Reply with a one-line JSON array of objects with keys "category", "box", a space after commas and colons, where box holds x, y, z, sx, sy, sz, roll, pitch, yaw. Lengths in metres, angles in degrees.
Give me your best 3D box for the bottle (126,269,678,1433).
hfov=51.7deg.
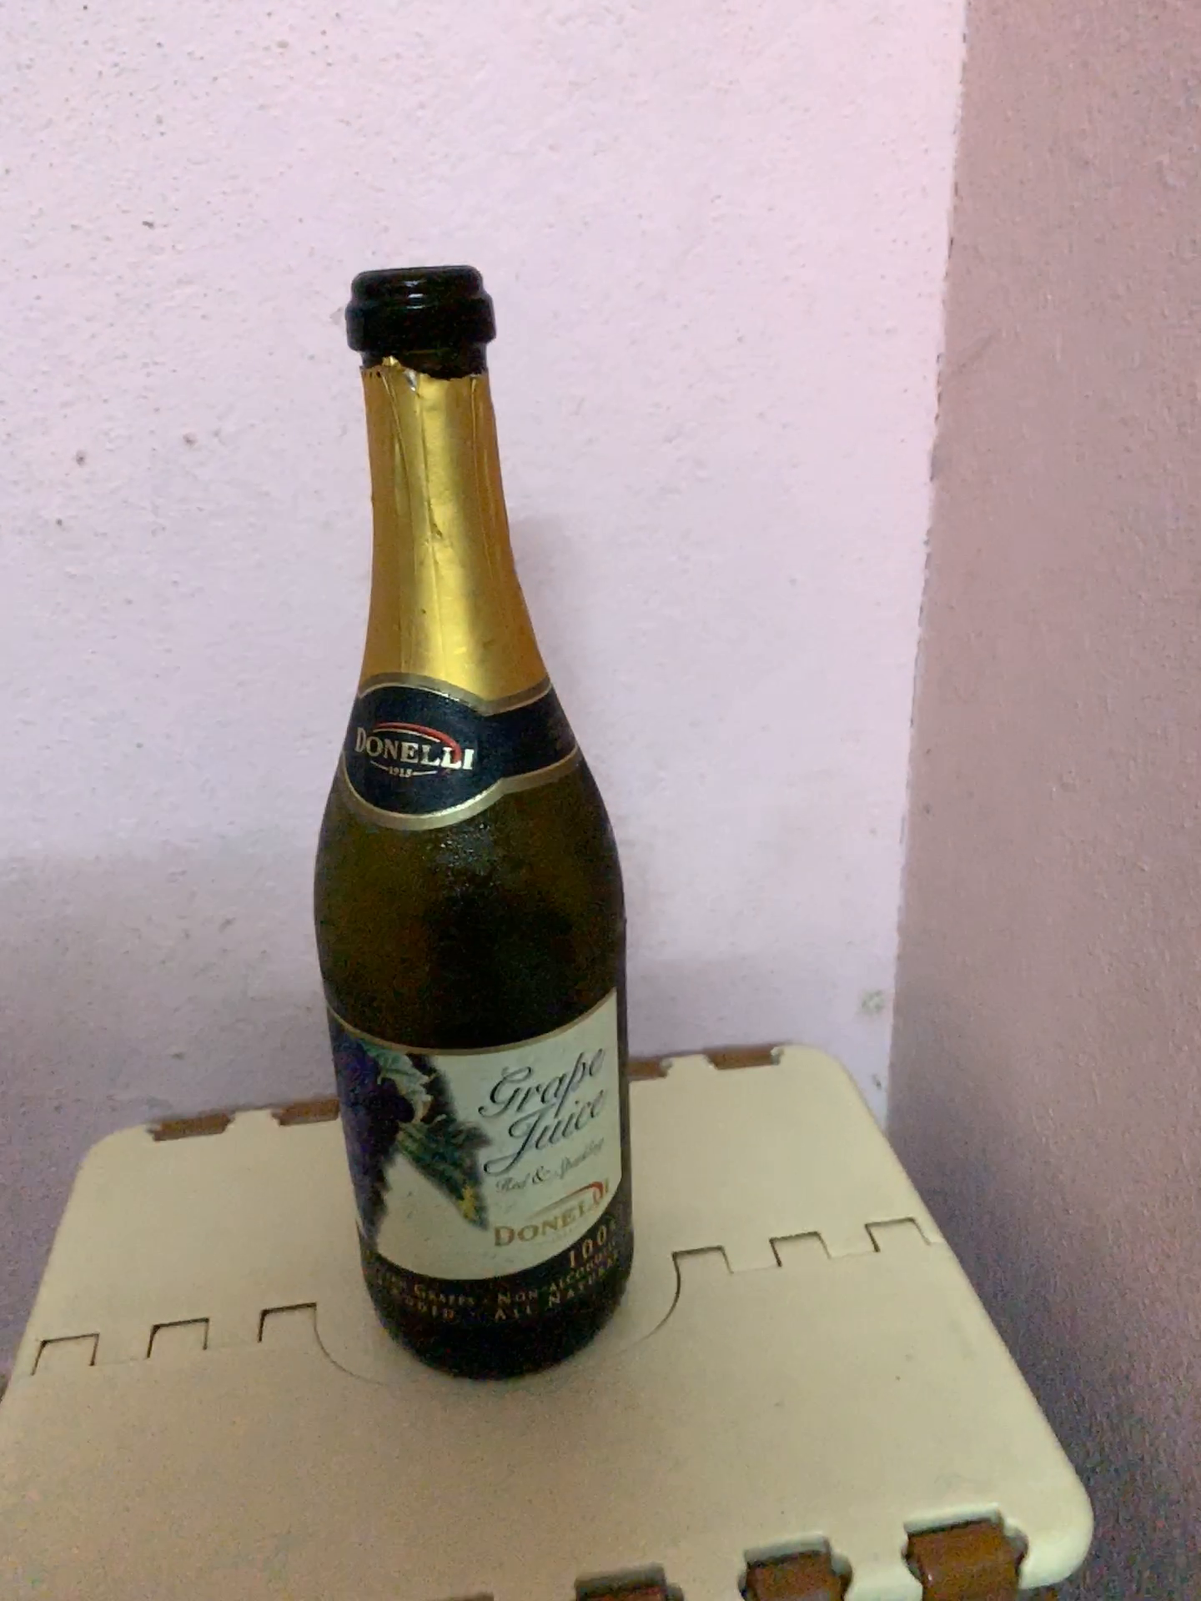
[{"category": "bottle", "box": [-0.035, 0.019, 0.315, 0.090, 0.279, 0.070, 8, 25, 22]}]
